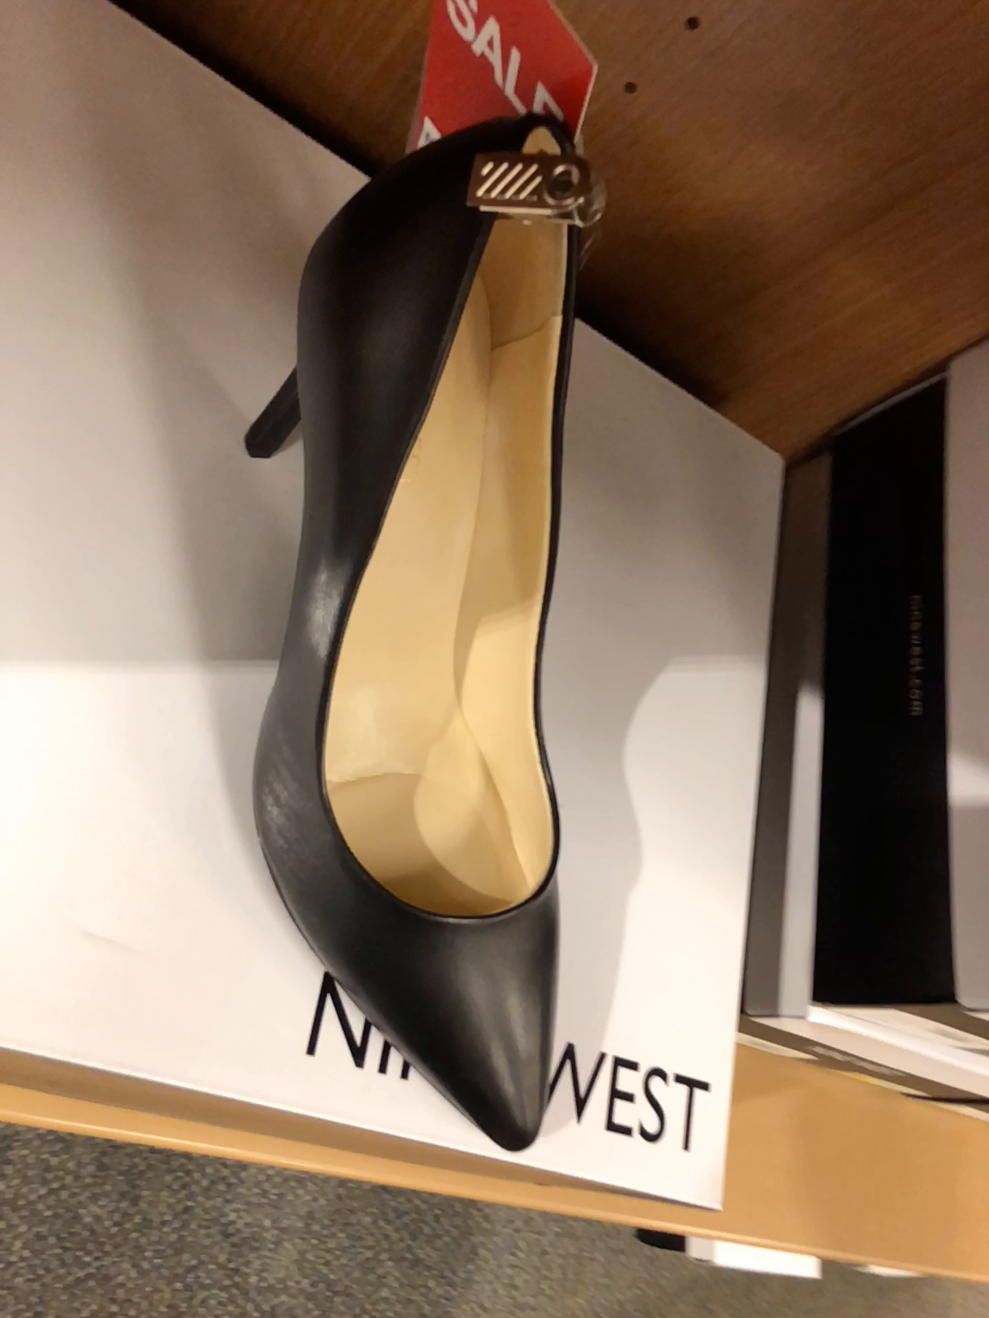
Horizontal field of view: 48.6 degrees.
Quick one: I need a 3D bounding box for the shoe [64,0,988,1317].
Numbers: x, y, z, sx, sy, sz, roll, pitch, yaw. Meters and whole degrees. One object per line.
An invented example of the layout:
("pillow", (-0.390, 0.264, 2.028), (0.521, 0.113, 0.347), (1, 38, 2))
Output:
("shoe", (-0.008, 0.005, 0.275), (0.097, 0.160, 0.255), (-13, 82, -37))
